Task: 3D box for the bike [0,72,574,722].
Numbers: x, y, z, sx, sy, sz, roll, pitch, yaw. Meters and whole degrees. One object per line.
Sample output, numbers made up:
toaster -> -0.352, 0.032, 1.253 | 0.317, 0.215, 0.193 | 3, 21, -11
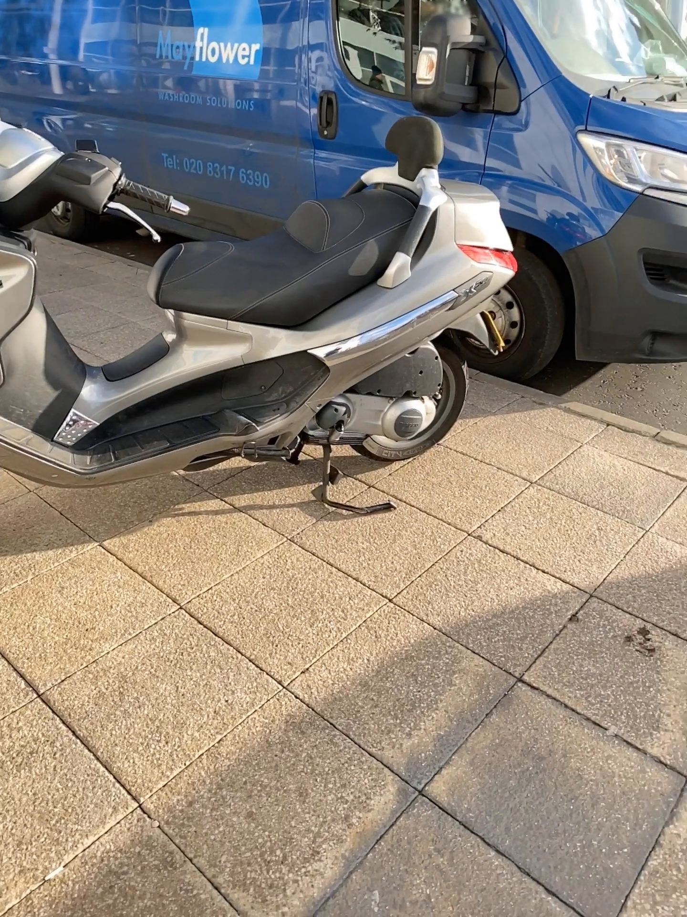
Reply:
bike -> -0.346, -0.312, 1.684 | 1.656, 1.062, 0.657 | -16, 34, -25
